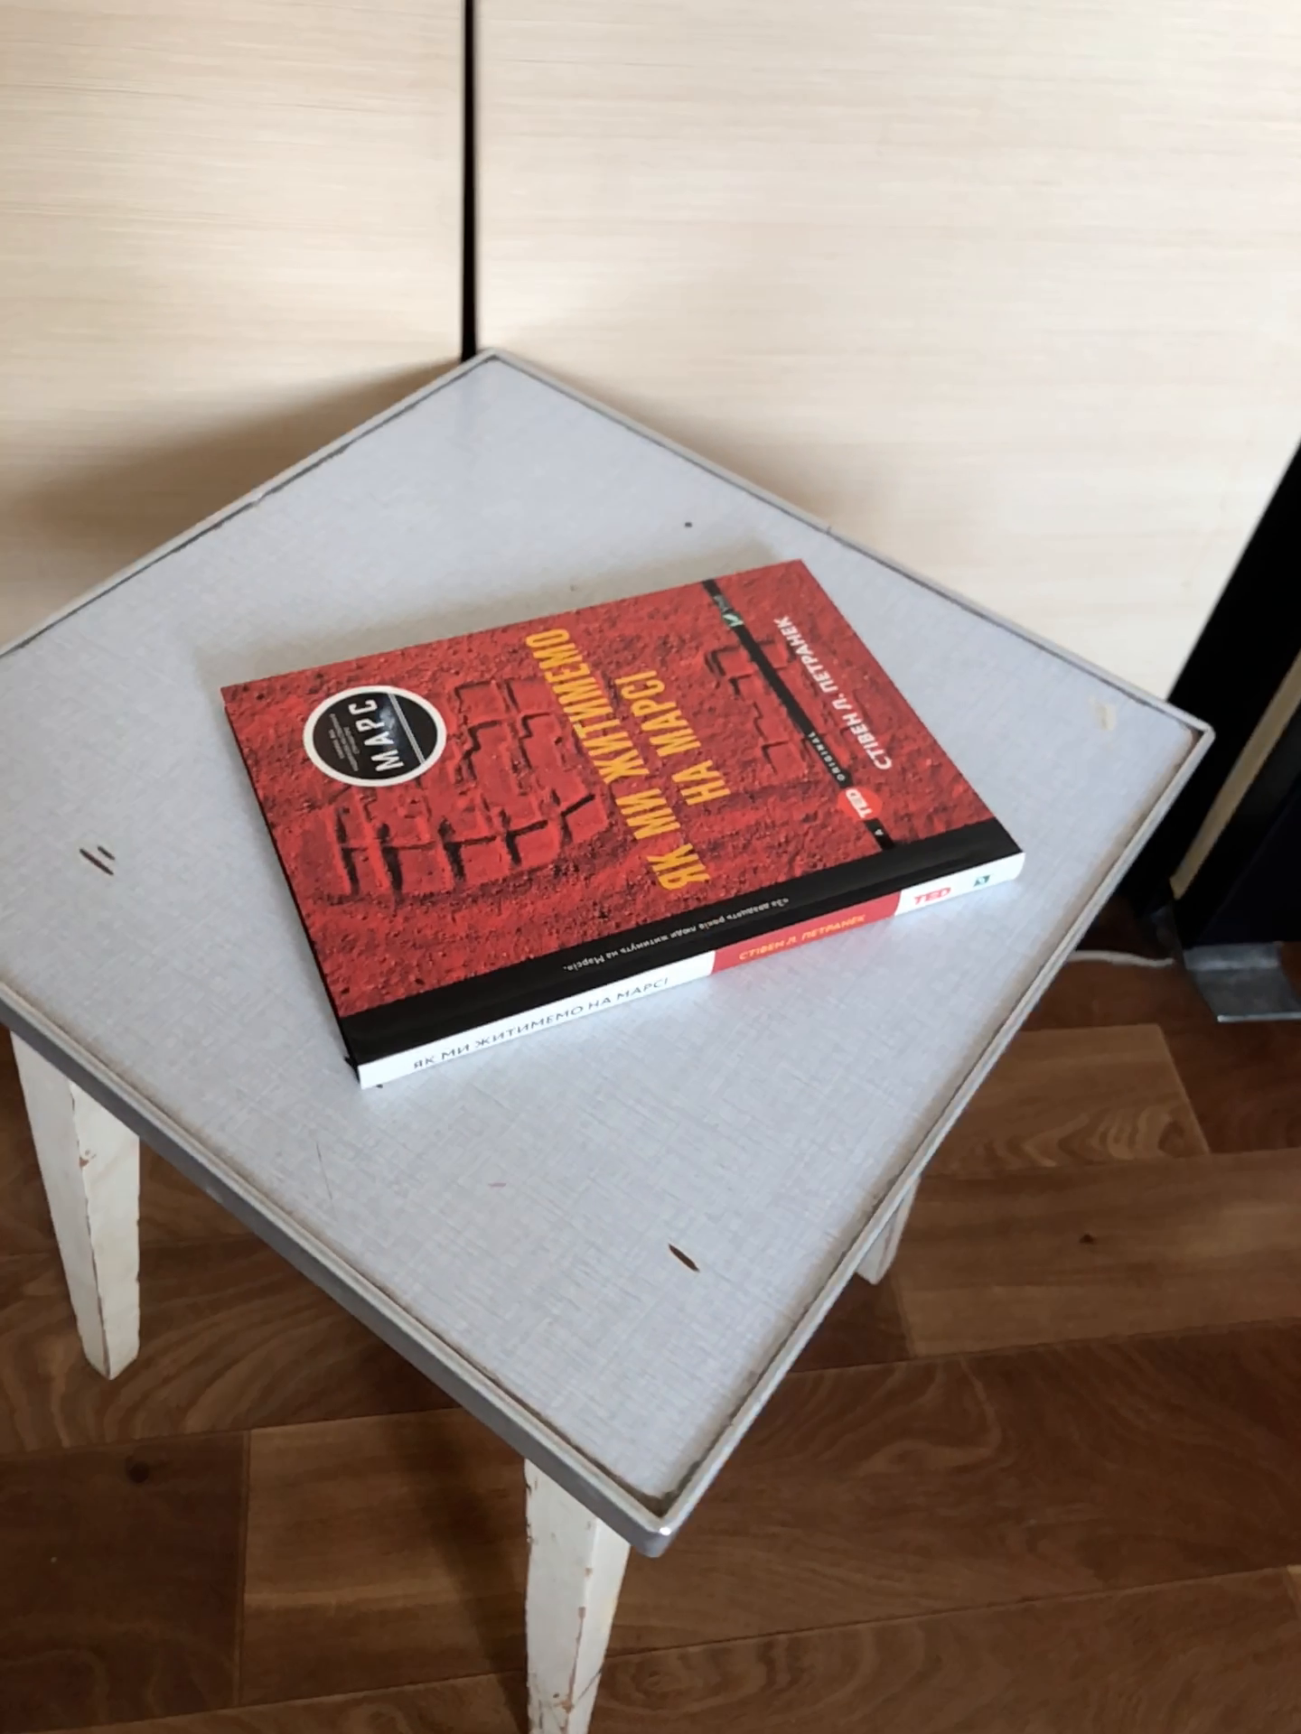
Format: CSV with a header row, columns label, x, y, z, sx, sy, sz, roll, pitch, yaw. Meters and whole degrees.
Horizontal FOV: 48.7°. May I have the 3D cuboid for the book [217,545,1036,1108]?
label,x,y,z,sx,sy,sz,roll,pitch,yaw
book,-0.010,-0.026,0.446,0.209,0.020,0.151,-16,55,-19
